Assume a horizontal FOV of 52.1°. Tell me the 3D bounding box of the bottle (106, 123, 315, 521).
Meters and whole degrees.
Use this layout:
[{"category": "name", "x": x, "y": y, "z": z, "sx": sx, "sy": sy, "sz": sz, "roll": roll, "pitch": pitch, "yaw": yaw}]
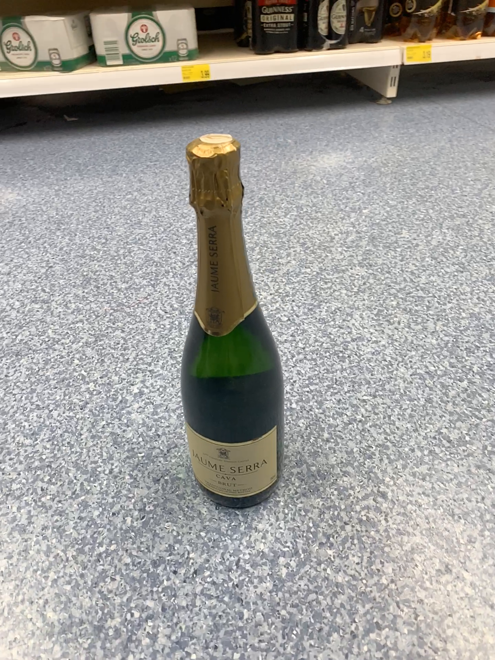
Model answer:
[{"category": "bottle", "x": -0.010, "y": 0.009, "z": 0.389, "sx": 0.104, "sy": 0.291, "sz": 0.106, "roll": -2, "pitch": 37, "yaw": 1}]
